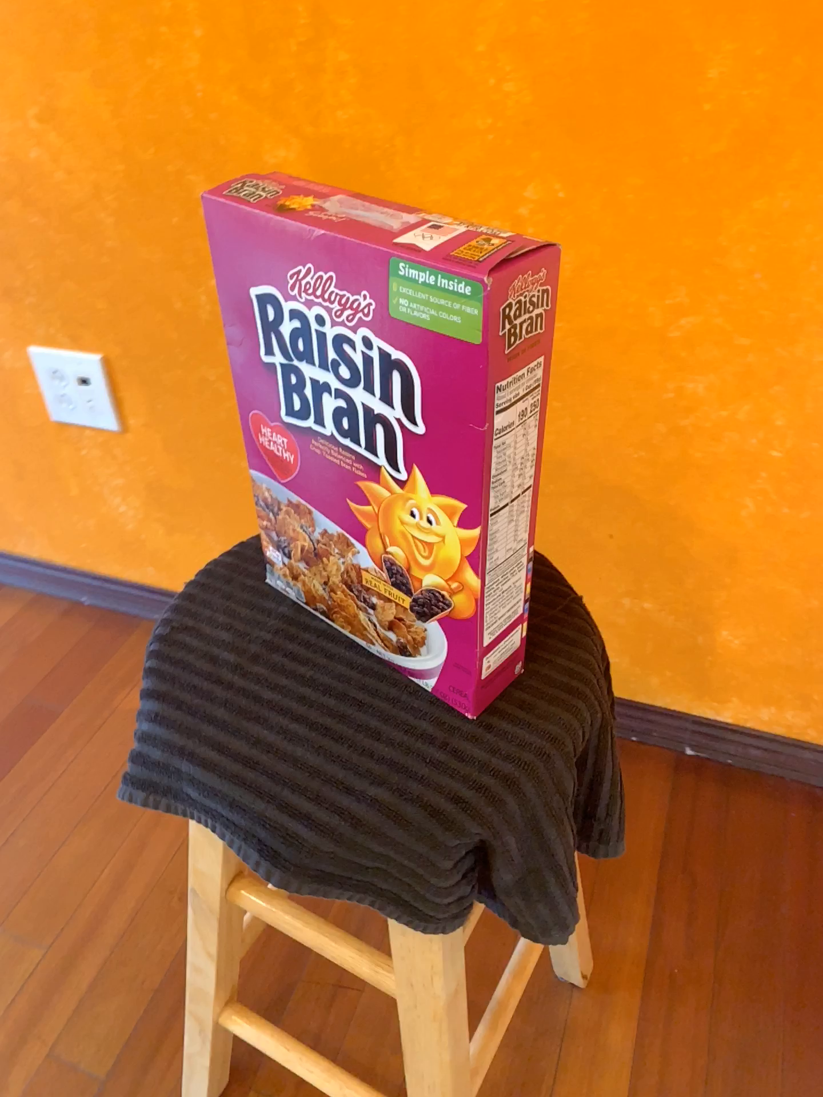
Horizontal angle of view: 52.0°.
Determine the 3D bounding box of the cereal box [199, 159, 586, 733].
[{"bbox_3d":[-0.014,-0.054,0.499,0.201,0.288,0.060,29,48,32],"label":"cereal box"}]
